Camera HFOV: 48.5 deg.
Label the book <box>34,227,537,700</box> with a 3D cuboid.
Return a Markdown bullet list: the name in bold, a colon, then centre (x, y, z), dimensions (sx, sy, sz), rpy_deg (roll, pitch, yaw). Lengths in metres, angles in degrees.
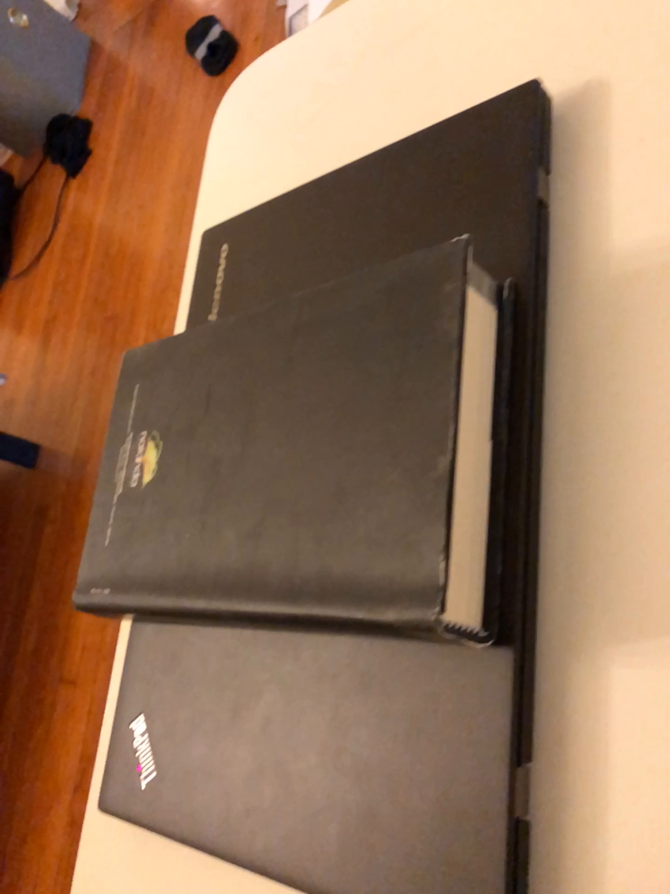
- **book**: centre (-0.034, 0.014, 0.317), dimensions (0.231, 0.040, 0.150), rpy_deg (-7, 68, 40)
